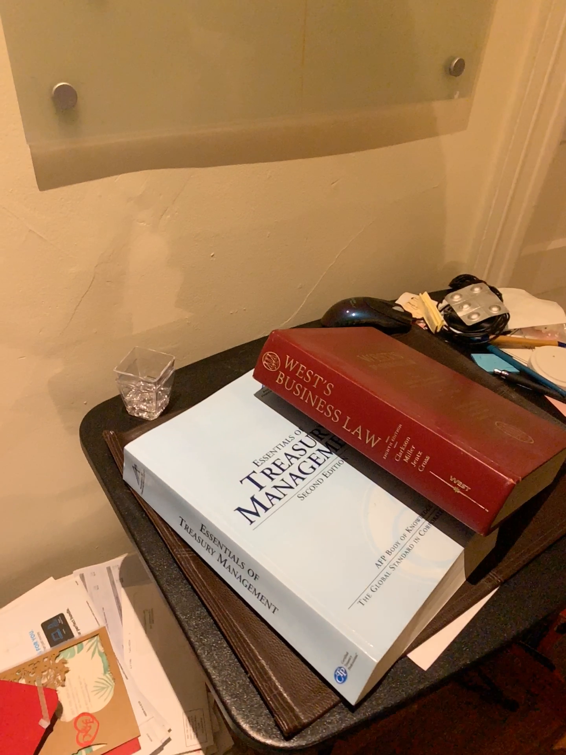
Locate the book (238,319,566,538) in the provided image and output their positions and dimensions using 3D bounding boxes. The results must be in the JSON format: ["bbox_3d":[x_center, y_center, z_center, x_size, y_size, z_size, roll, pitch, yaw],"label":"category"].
[{"bbox_3d":[0.125,0.026,0.570,0.271,0.050,0.210,33,22,31],"label":"book"}]

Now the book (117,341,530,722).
[{"bbox_3d":[0.030,0.097,0.510,0.271,0.070,0.221,34,47,31],"label":"book"}]
